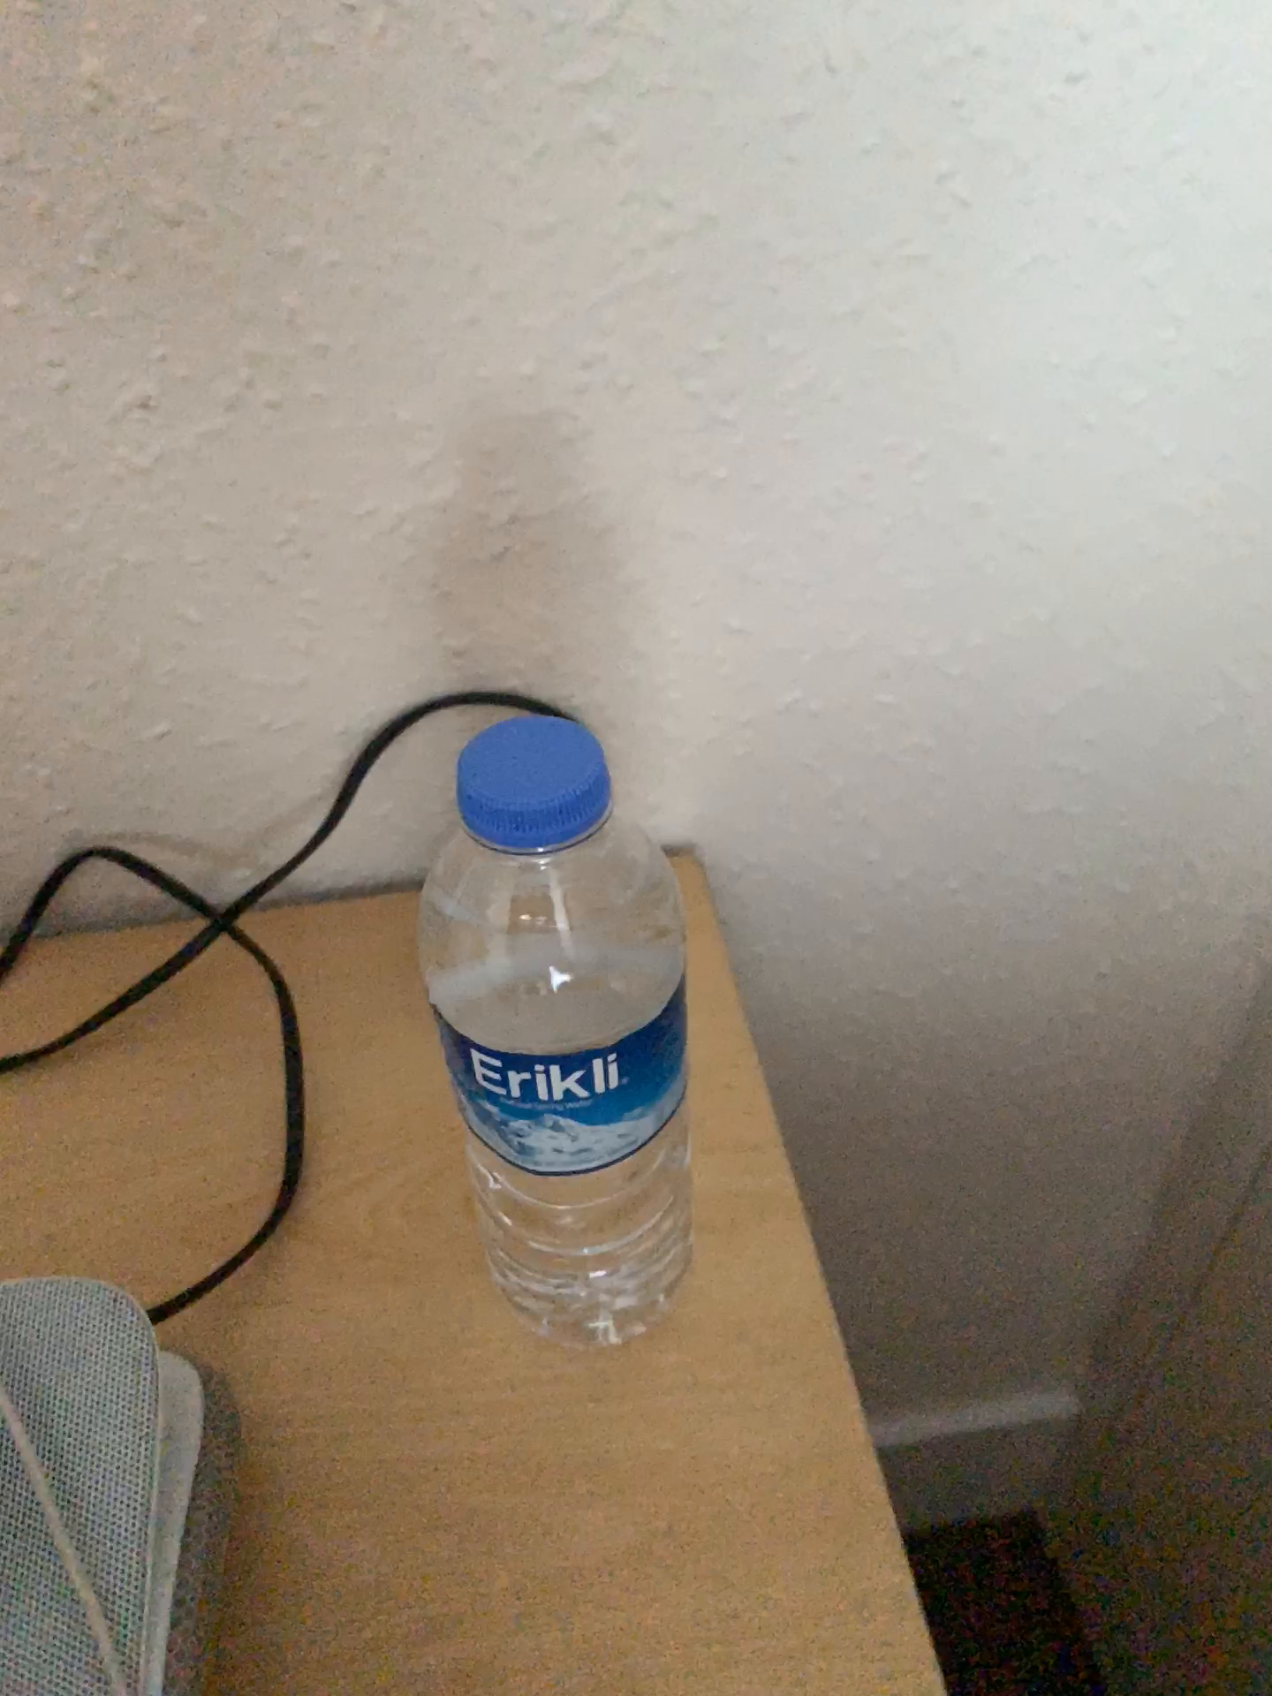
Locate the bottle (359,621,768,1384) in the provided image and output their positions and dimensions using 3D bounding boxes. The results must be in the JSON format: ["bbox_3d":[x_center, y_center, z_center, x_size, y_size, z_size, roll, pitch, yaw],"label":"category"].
[{"bbox_3d":[-0.012,0.047,0.328,0.070,0.188,0.071,0,40,0],"label":"bottle"}]
